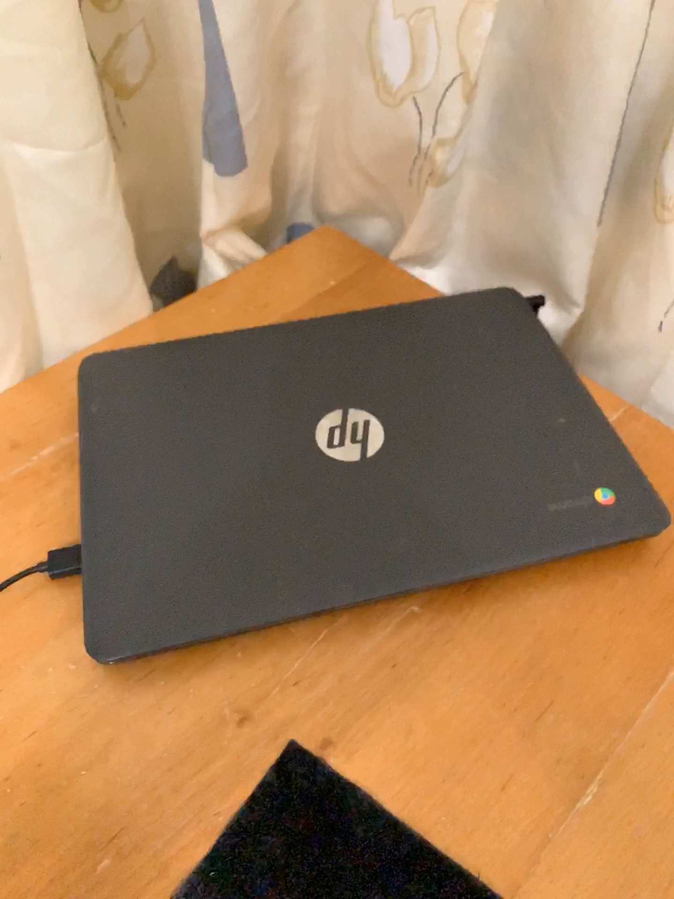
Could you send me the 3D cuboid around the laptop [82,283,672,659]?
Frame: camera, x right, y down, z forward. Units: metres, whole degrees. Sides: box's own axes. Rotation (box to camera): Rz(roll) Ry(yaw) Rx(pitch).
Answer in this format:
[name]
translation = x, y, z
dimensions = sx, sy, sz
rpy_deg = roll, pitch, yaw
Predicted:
[laptop]
translation = 0.004, -0.010, 0.360
dimensions = 0.261, 0.004, 0.186
rpy_deg = -11, 50, -9
